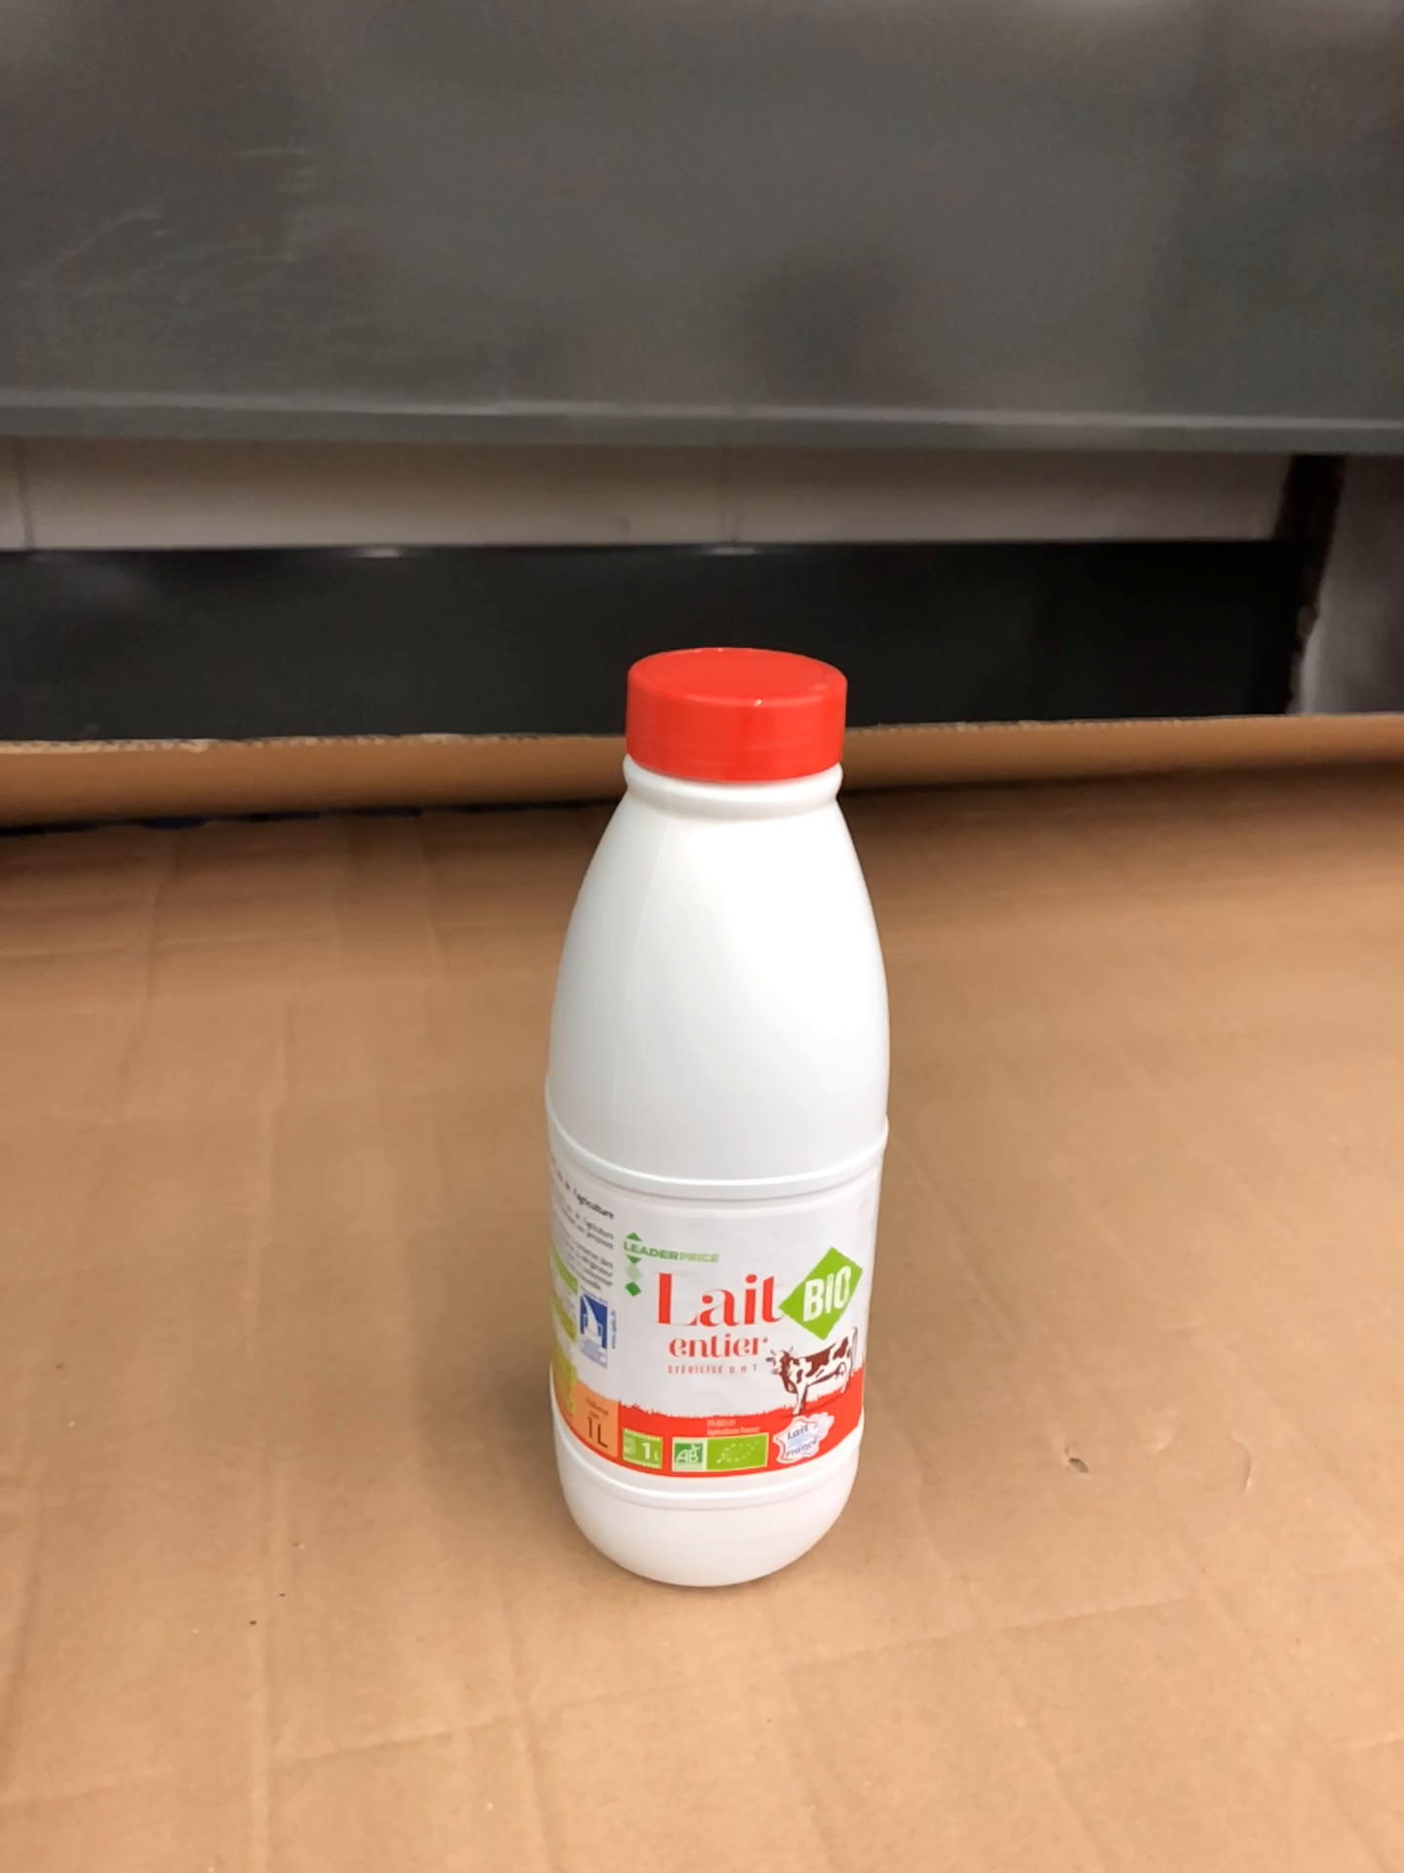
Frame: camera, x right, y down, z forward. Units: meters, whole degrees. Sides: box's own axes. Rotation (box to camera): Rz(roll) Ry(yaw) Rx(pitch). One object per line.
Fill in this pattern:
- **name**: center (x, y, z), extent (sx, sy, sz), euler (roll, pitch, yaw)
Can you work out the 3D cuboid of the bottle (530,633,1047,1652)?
- **bottle**: center (0.009, 0.050, 0.379), extent (0.090, 0.229, 0.080), euler (-4, 25, -15)
